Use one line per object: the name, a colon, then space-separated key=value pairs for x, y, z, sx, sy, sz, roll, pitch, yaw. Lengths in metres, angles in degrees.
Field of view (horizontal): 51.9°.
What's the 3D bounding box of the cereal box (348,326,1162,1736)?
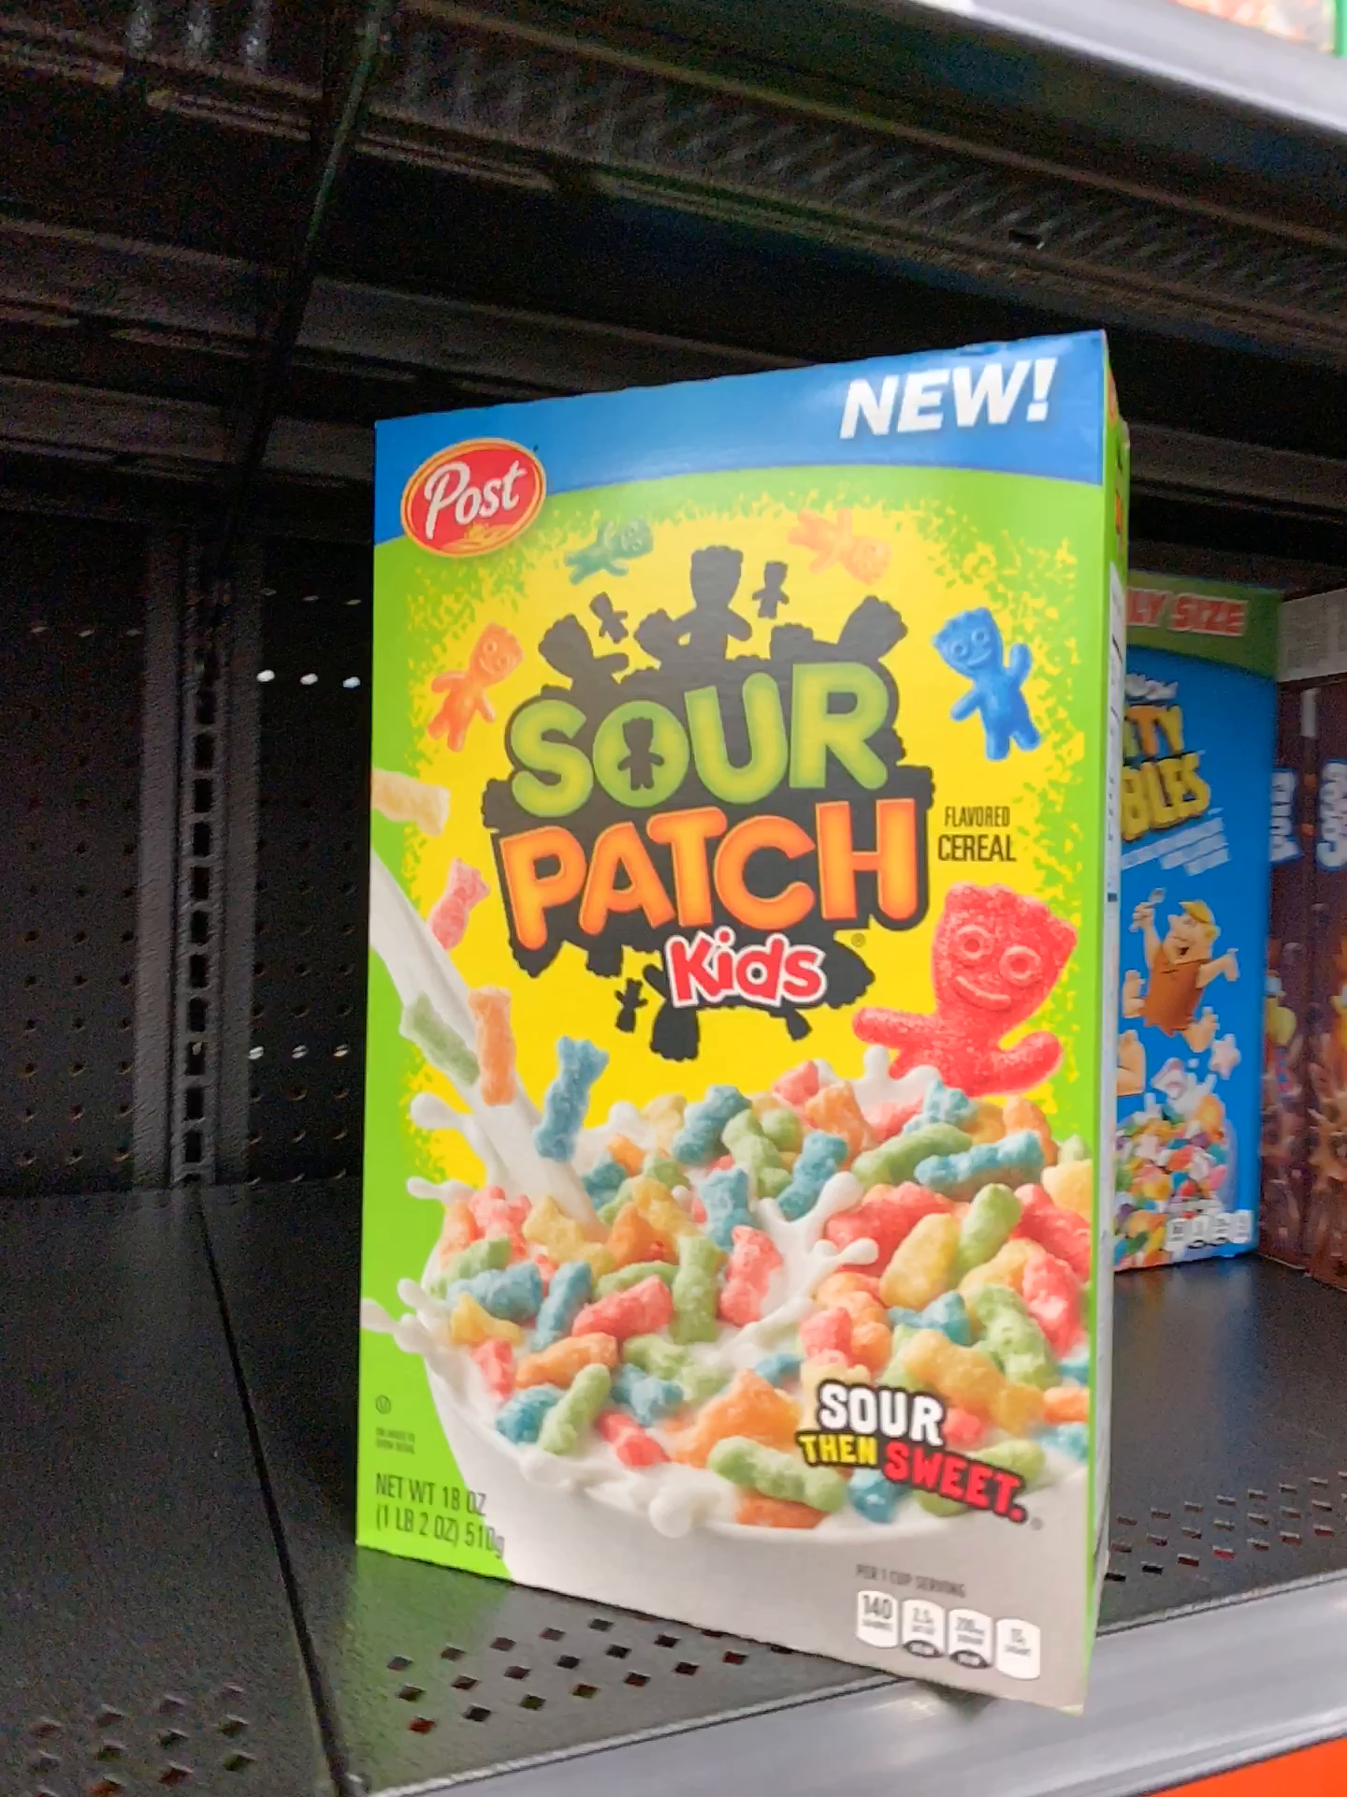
cereal box: x=0.022 y=0.026 z=0.378 sx=0.200 sy=0.310 sz=0.080 roll=1 pitch=0 yaw=21
